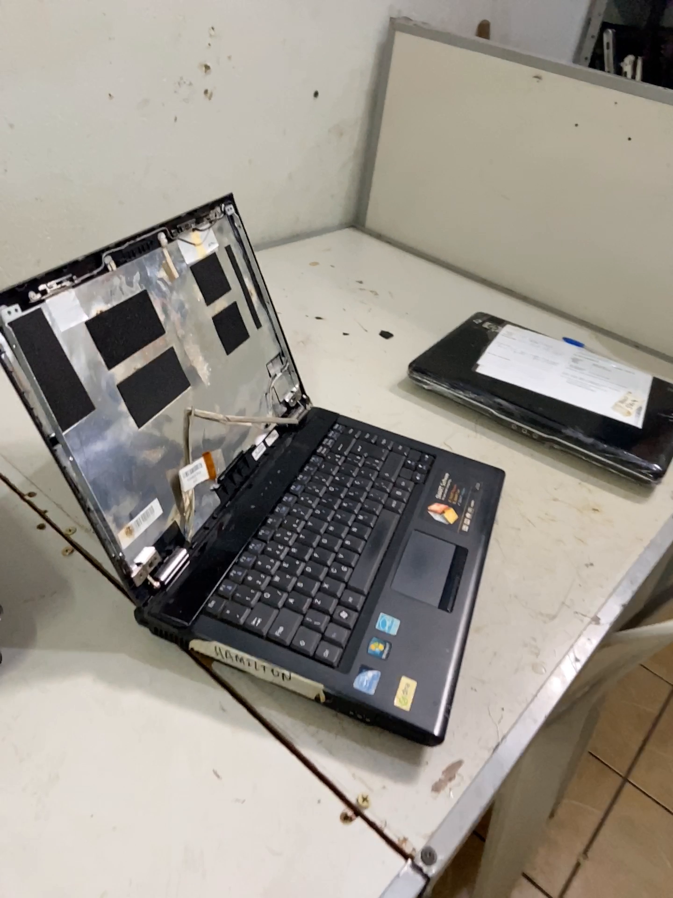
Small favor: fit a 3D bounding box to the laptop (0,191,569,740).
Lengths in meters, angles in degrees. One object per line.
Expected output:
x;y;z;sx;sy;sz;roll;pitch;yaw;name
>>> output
-0.019;-0.029;0.566;0.335;0.205;0.335;19;36;11;laptop
